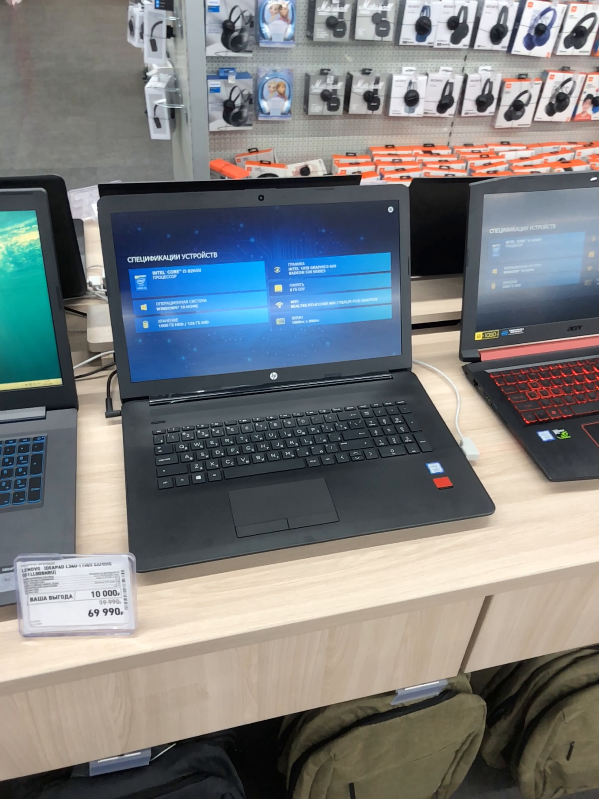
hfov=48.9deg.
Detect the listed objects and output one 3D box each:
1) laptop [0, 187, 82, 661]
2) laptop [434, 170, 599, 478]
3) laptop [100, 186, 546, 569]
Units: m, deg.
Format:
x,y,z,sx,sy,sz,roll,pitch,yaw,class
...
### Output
x,y,z,sx,sy,sz,roll,pitch,yaw,class
-0.447,-0.010,0.631,0.380,0.226,0.373,-6,42,-17,laptop
0.463,-0.115,0.866,0.403,0.224,0.304,-9,44,-15,laptop
-0.012,-0.059,0.762,0.388,0.213,0.374,-7,42,-14,laptop
